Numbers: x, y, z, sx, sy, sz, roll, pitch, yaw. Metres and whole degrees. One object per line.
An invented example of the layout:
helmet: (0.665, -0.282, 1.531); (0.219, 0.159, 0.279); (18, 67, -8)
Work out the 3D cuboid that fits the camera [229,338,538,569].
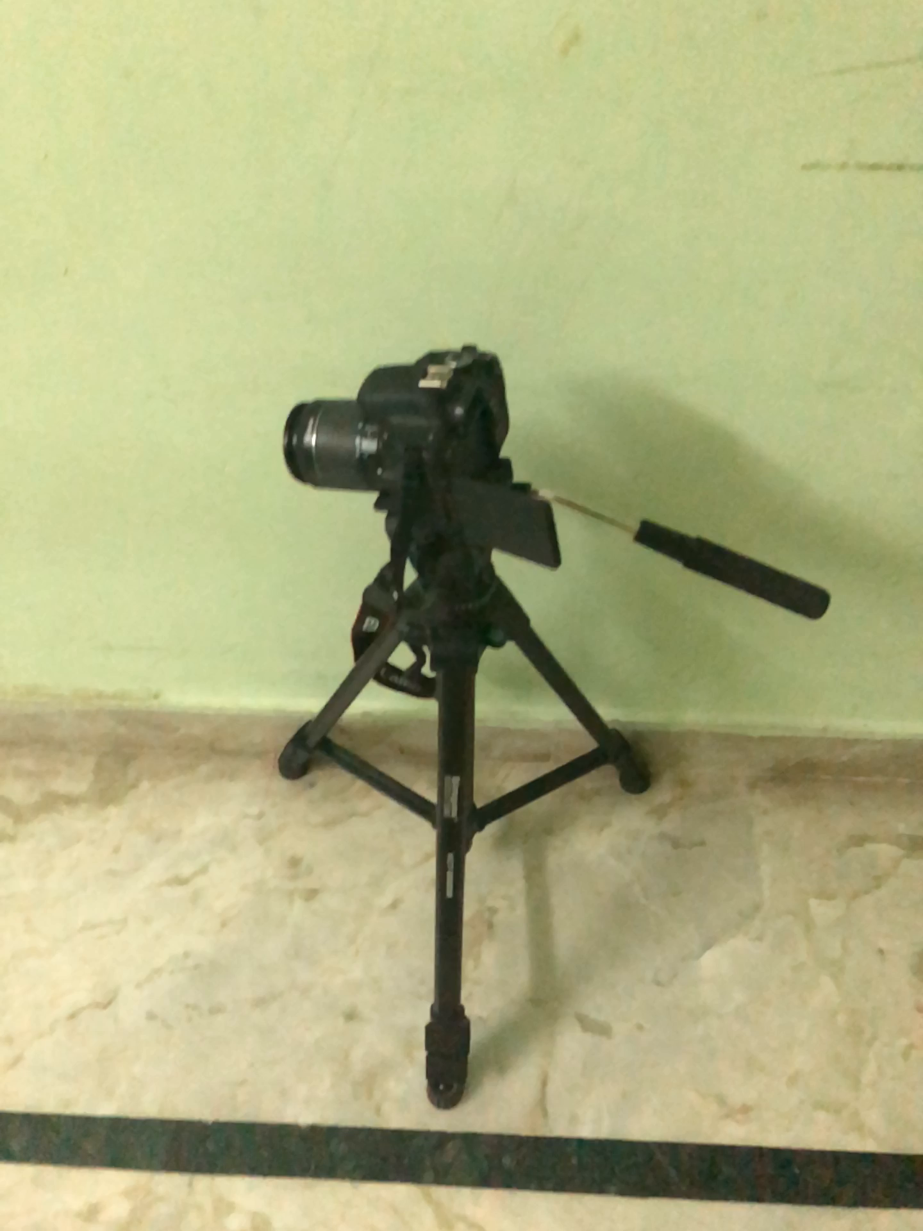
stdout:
camera: (-0.049, -0.124, 0.753); (0.190, 0.099, 0.131); (6, 49, 13)
